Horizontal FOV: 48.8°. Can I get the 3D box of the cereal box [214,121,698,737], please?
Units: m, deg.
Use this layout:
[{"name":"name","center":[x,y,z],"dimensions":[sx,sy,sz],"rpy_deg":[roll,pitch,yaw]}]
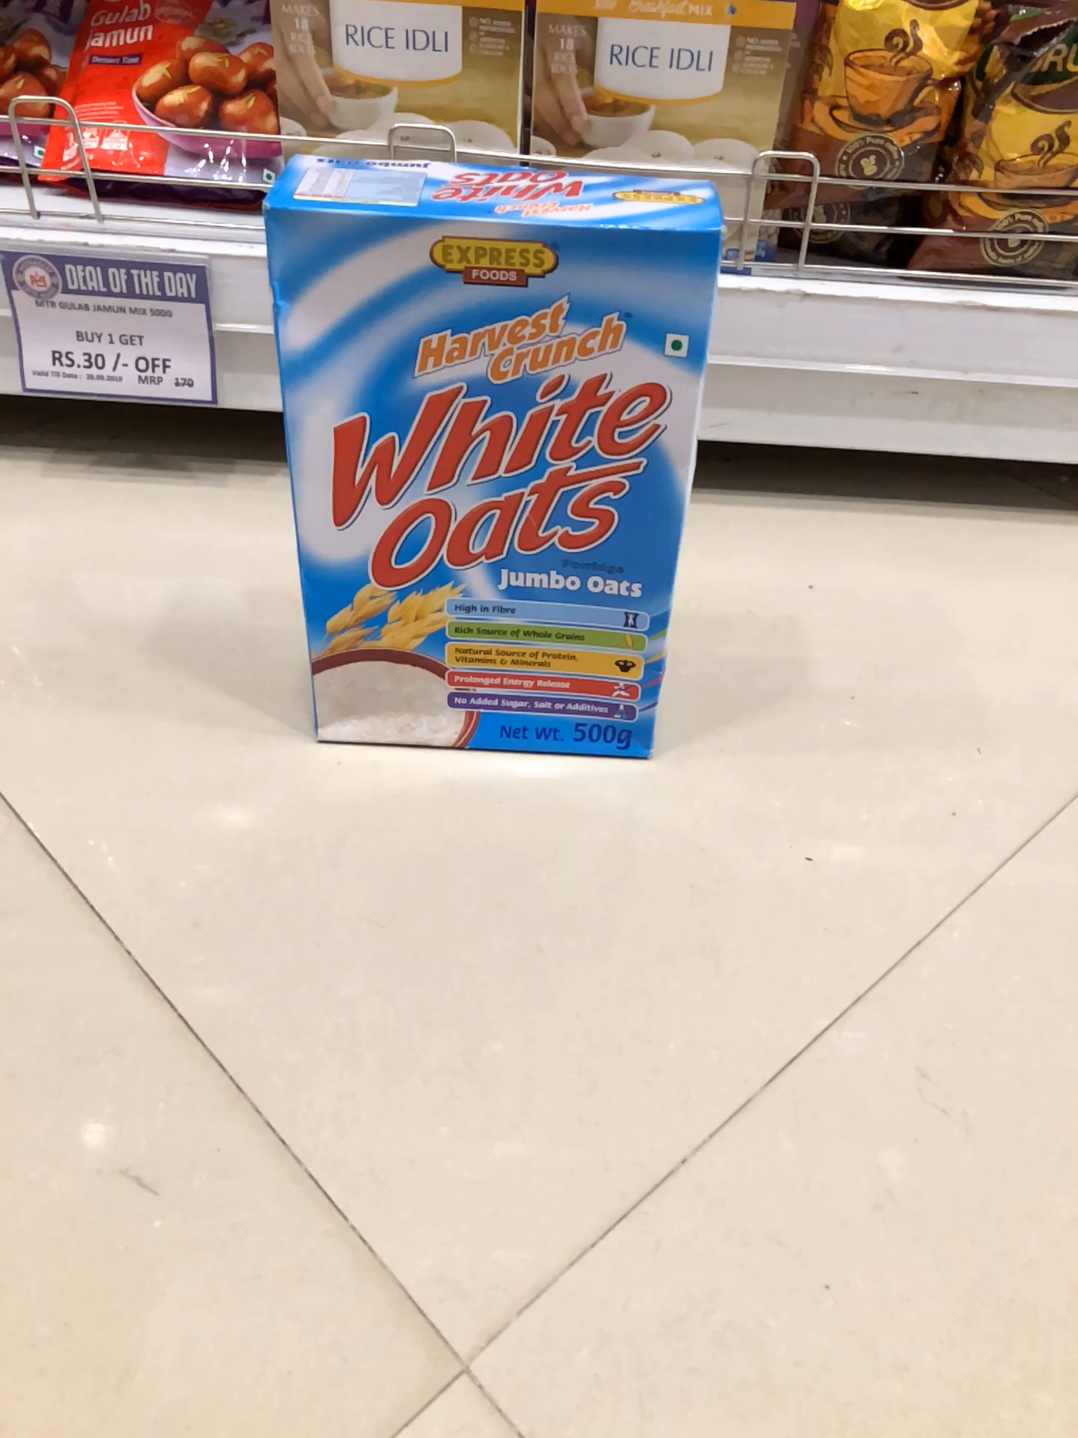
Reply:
[{"name":"cereal box","center":[-0.032,-0.100,0.461],"dimensions":[0.150,0.218,0.060],"rpy_deg":[4,41,-2]}]
